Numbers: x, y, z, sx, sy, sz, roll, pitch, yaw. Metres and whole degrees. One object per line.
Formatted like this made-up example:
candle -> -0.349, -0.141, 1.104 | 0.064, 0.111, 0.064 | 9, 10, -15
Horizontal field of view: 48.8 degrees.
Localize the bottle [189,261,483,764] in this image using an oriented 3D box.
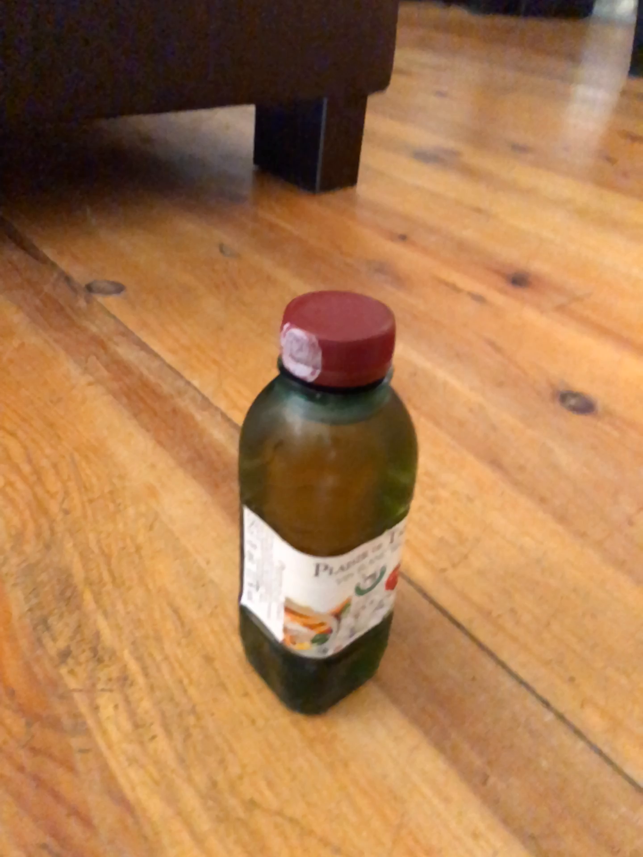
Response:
bottle -> -0.001, 0.031, 0.230 | 0.060, 0.149, 0.050 | -22, 43, -33
